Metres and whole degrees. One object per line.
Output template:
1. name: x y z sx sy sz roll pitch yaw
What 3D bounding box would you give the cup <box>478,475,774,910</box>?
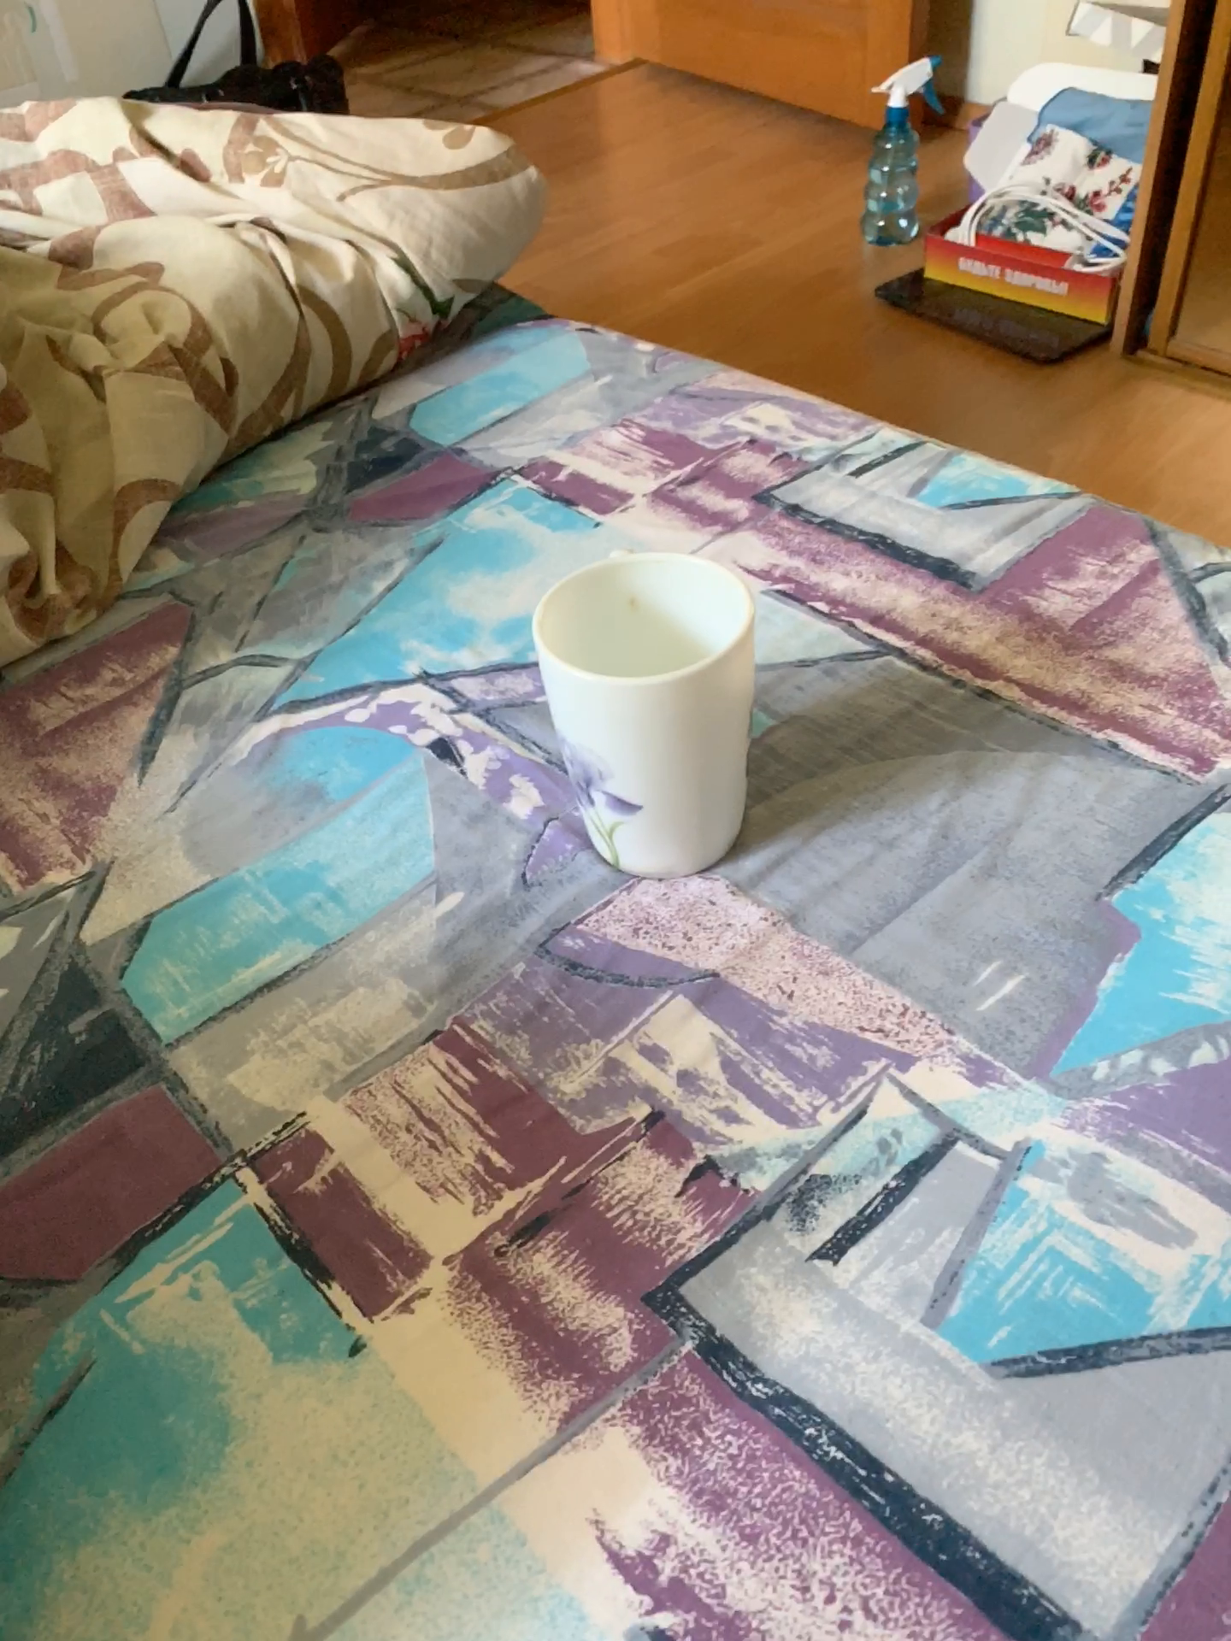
1. cup: 0.003 -0.051 0.480 0.080 0.099 0.121 -12 44 -6
